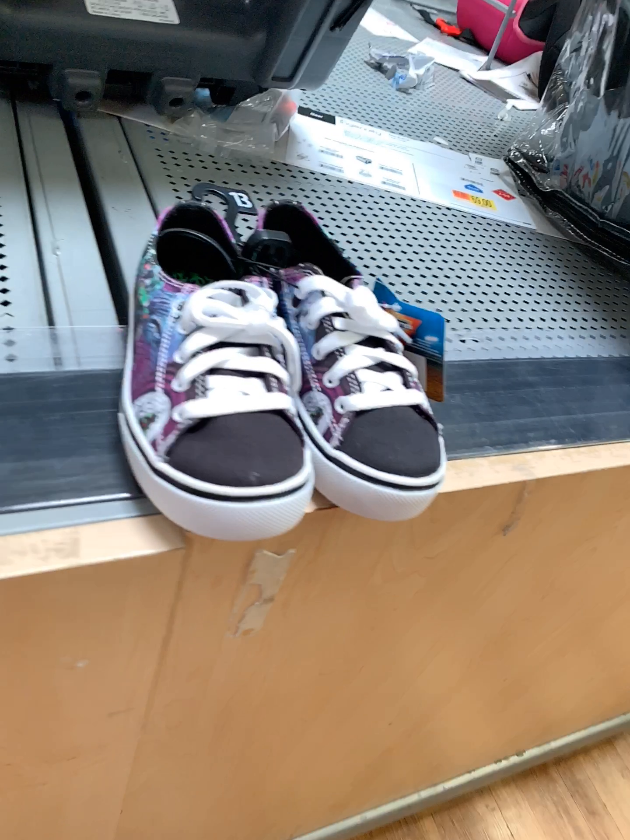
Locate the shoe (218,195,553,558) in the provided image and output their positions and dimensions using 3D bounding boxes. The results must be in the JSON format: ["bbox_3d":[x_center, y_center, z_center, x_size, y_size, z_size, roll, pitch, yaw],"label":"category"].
[{"bbox_3d":[0.023,-0.039,0.370,0.089,0.073,0.213,-5,48,-26],"label":"shoe"}]

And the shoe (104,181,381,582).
[{"bbox_3d":[-0.053,-0.033,0.330,0.091,0.073,0.208,0,46,-22],"label":"shoe"}]
